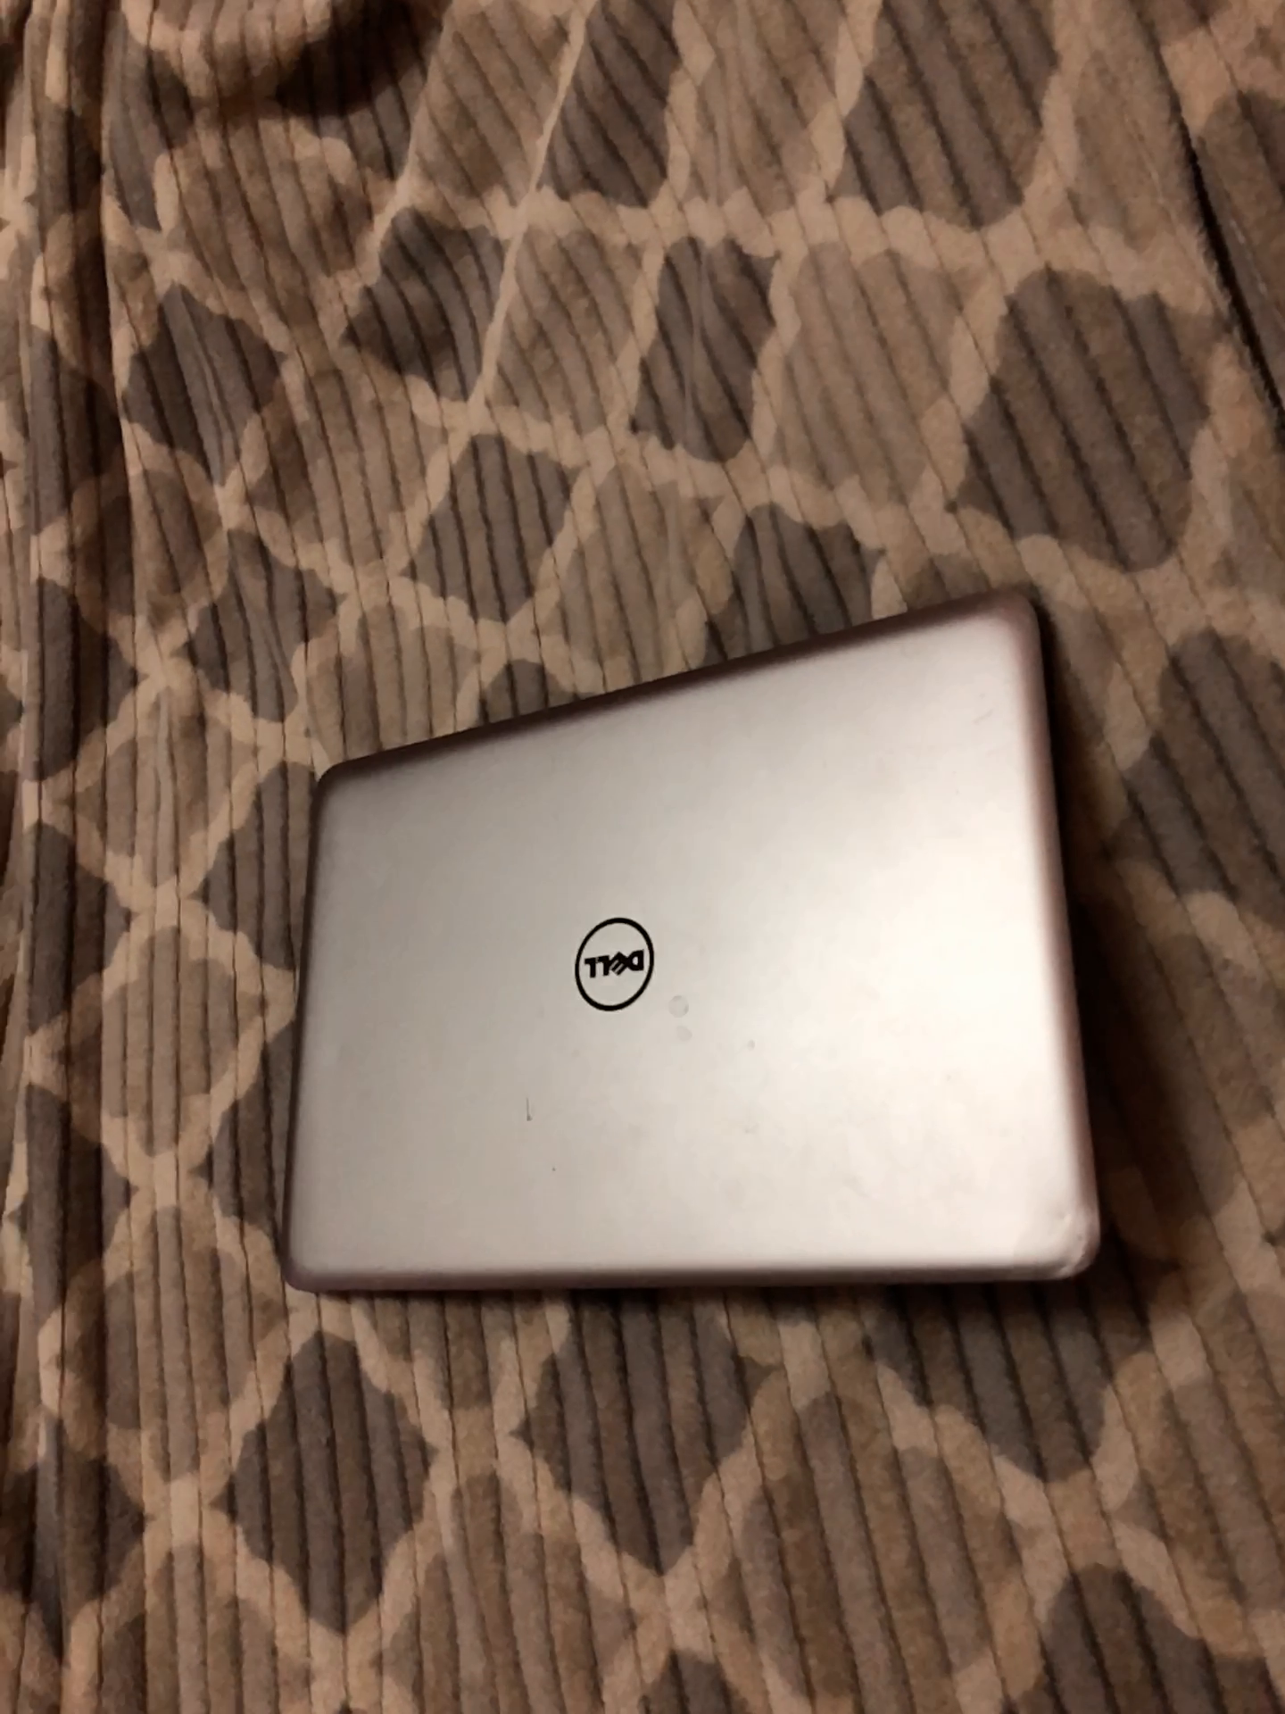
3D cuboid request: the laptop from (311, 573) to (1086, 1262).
[{"bbox_3d":[-0.003,0.040,0.610,0.359,0.007,0.252,-11,70,30],"label":"laptop"}]
